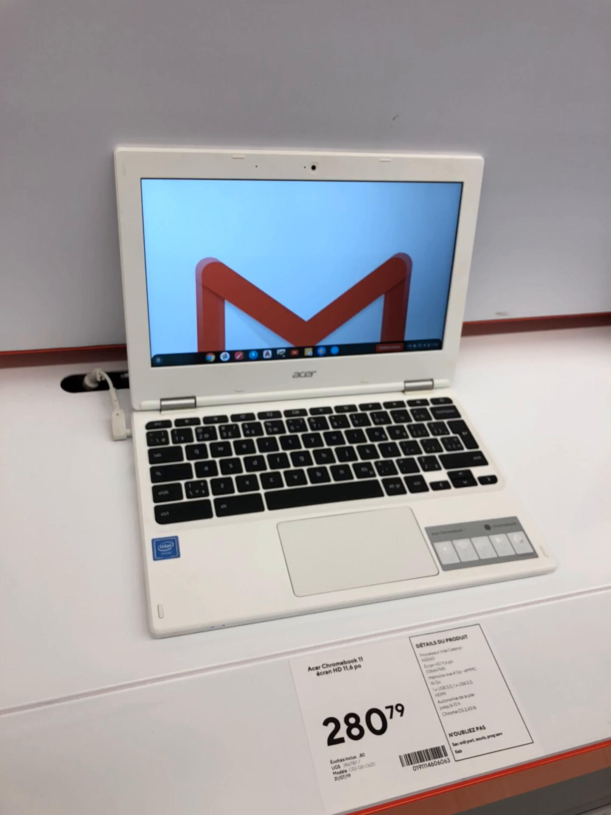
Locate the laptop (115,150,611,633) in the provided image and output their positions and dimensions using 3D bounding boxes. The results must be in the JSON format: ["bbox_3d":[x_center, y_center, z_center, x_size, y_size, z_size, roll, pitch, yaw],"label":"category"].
[{"bbox_3d":[0.024,-0.031,0.477,0.282,0.188,0.260,-5,45,-15],"label":"laptop"}]
